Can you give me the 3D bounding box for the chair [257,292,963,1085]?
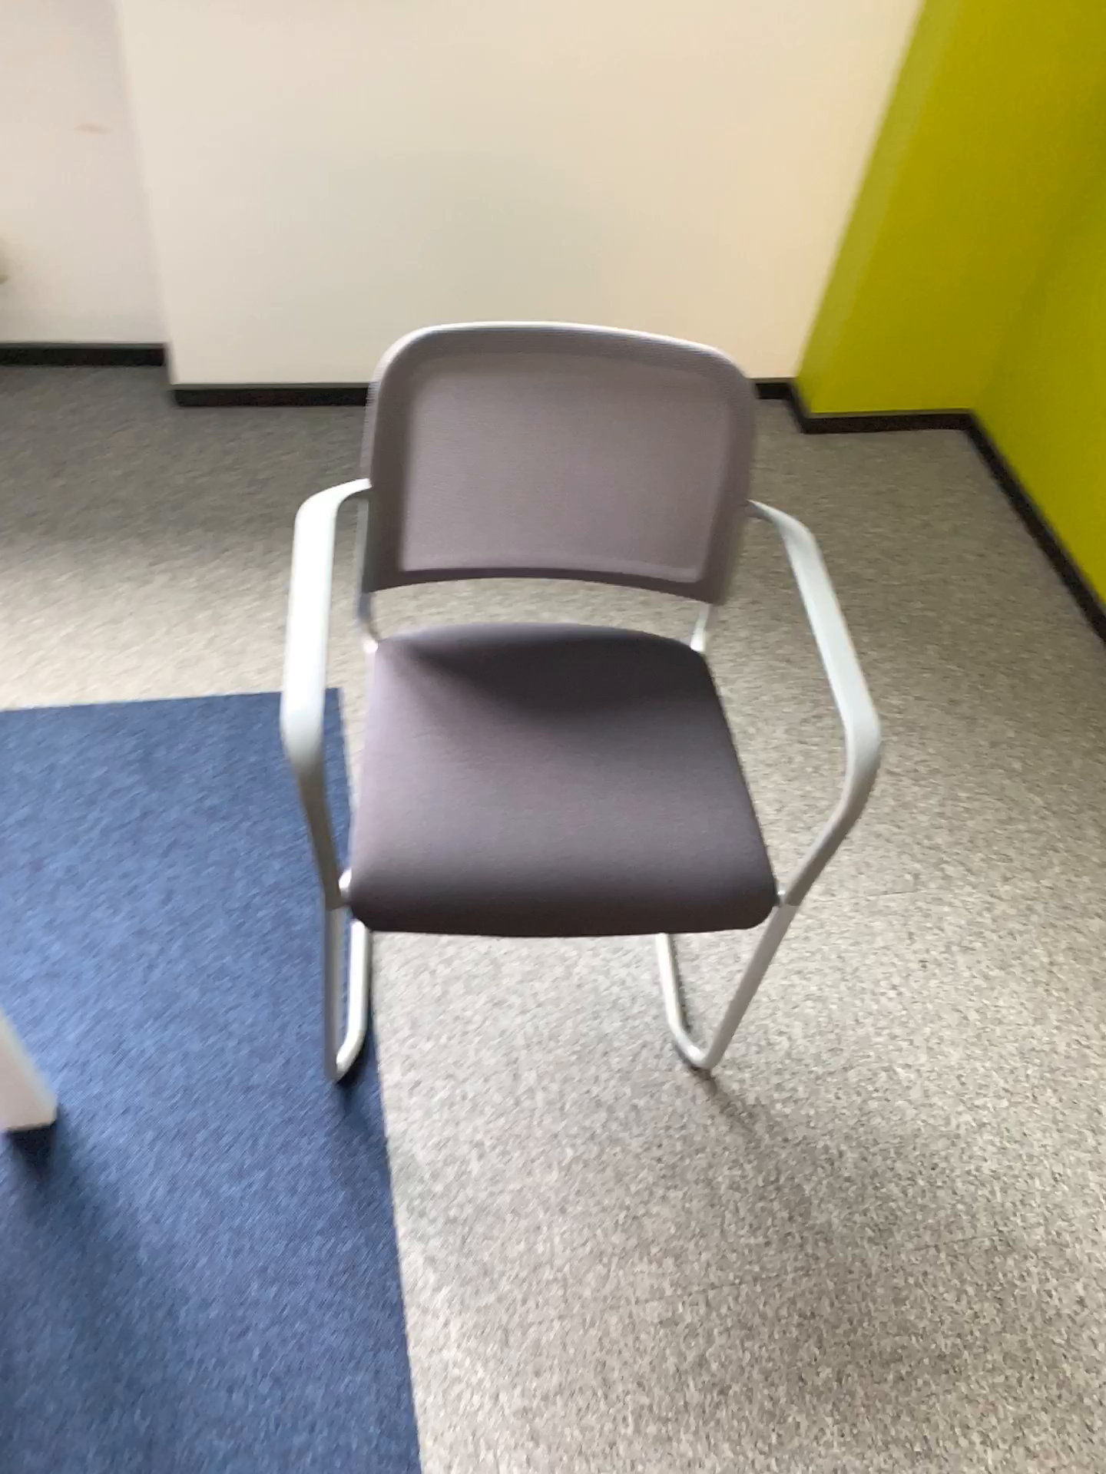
[{"bbox_3d":[-0.010,-0.001,1.270,0.530,0.727,0.522,2,51,-8],"label":"chair"}]
